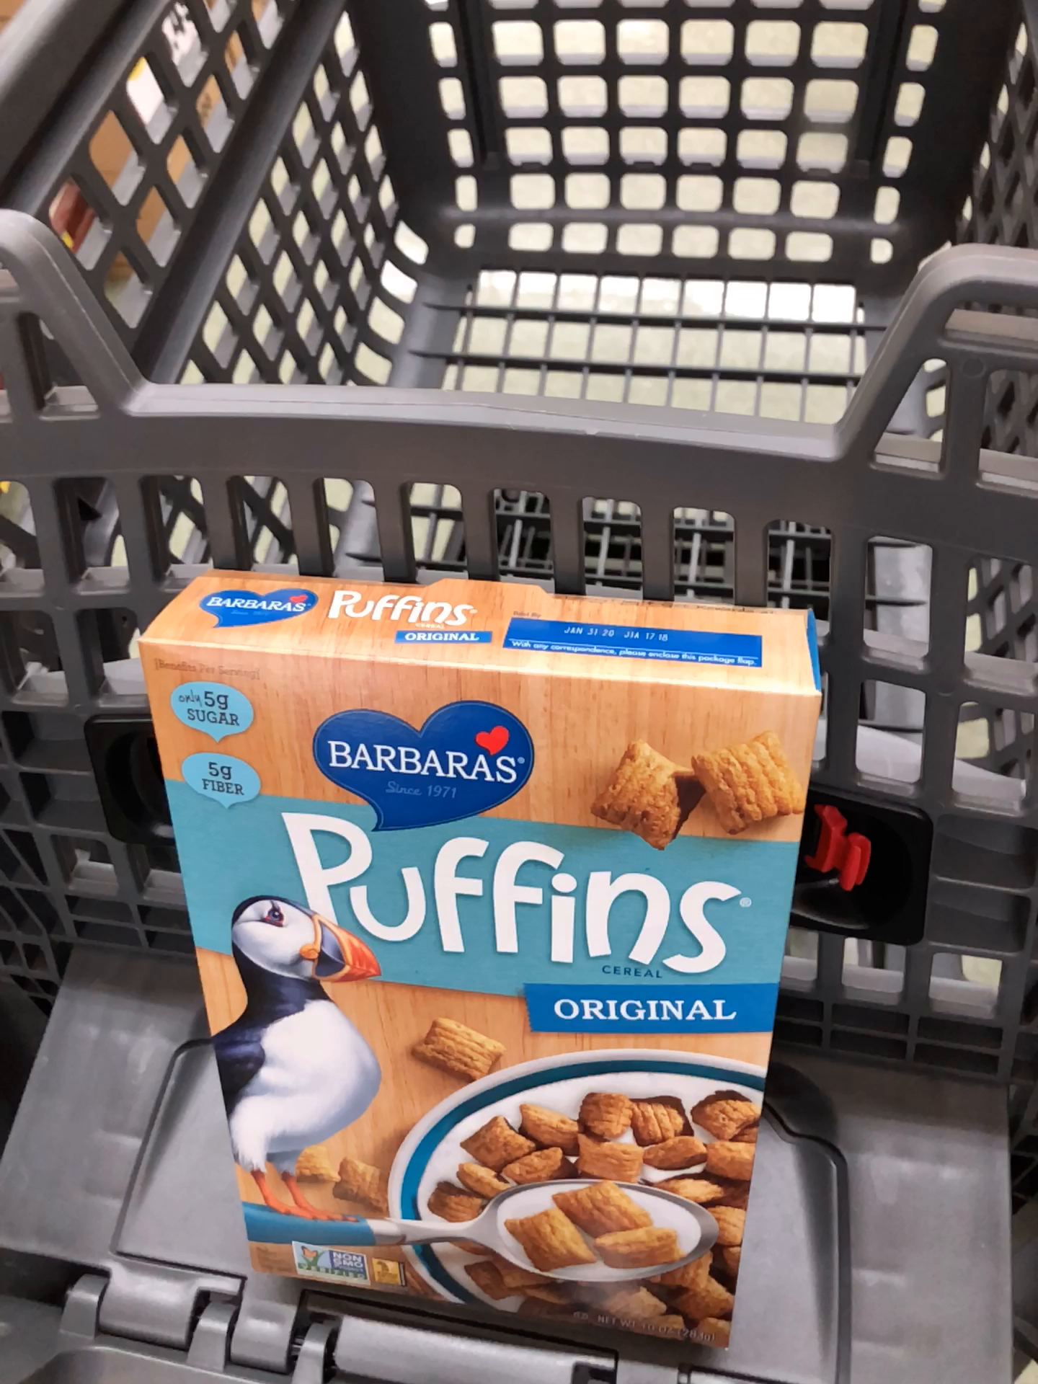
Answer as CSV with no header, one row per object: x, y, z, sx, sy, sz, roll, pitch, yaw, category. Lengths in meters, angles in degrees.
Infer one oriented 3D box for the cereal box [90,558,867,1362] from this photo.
-0.010,0.094,0.362,0.190,0.260,0.050,5,30,9,cereal box
